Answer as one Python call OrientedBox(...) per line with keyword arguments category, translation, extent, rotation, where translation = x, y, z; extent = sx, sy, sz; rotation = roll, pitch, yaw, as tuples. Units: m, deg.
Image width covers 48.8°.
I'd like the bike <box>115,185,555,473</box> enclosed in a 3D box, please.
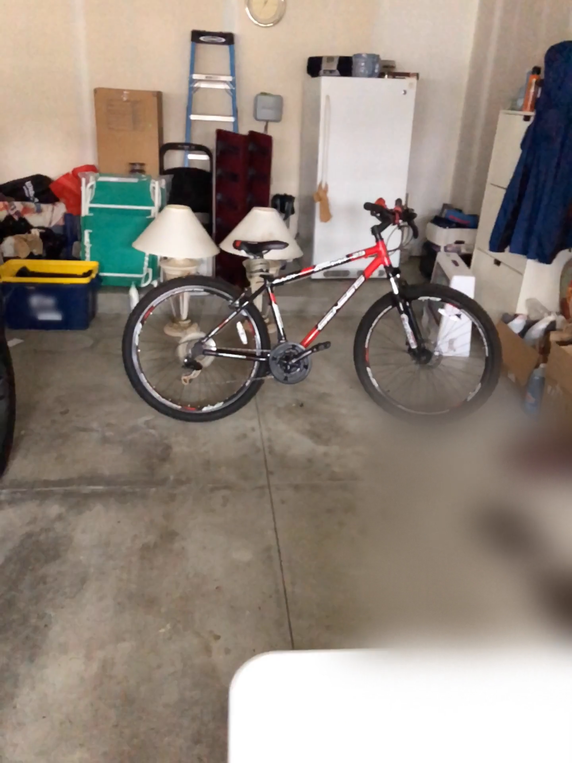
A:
OrientedBox(category="bike", translation=(0.106, -0.261, 2.865), extent=(1.668, 1.053, 0.592), rotation=(3, 23, 1))
